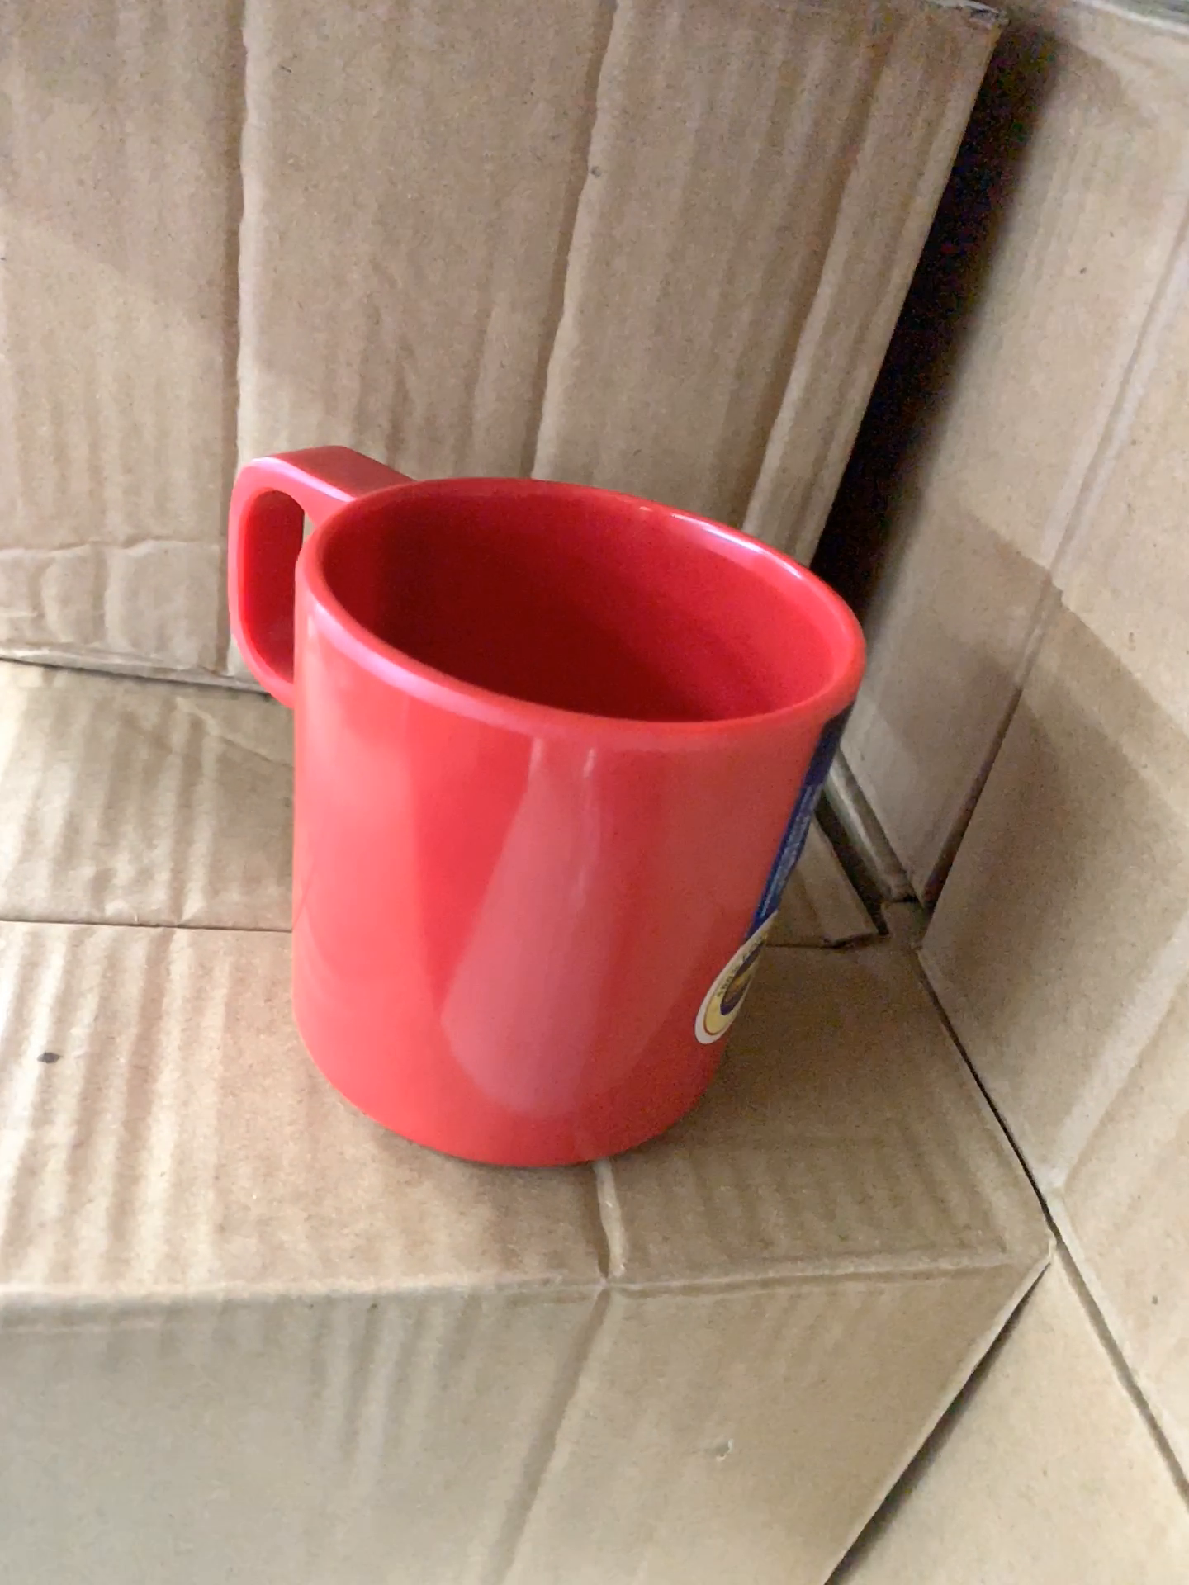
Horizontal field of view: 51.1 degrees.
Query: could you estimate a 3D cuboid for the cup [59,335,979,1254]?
[{"bbox_3d":[-0.018,-0.010,0.192,0.110,0.079,0.070,35,41,31],"label":"cup"}]
